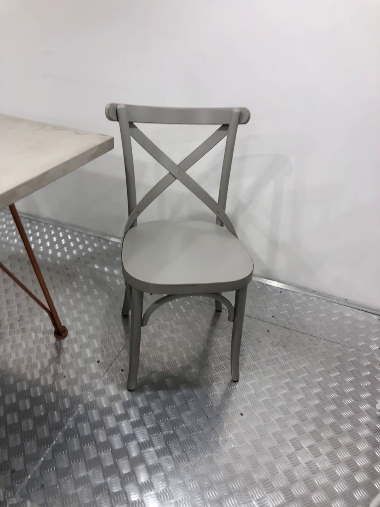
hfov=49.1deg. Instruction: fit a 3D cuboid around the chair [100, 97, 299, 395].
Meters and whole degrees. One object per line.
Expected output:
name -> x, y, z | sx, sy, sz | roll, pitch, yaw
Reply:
chair -> -0.042, -0.028, 1.485 | 0.510, 0.893, 0.504 | -2, 32, -11
